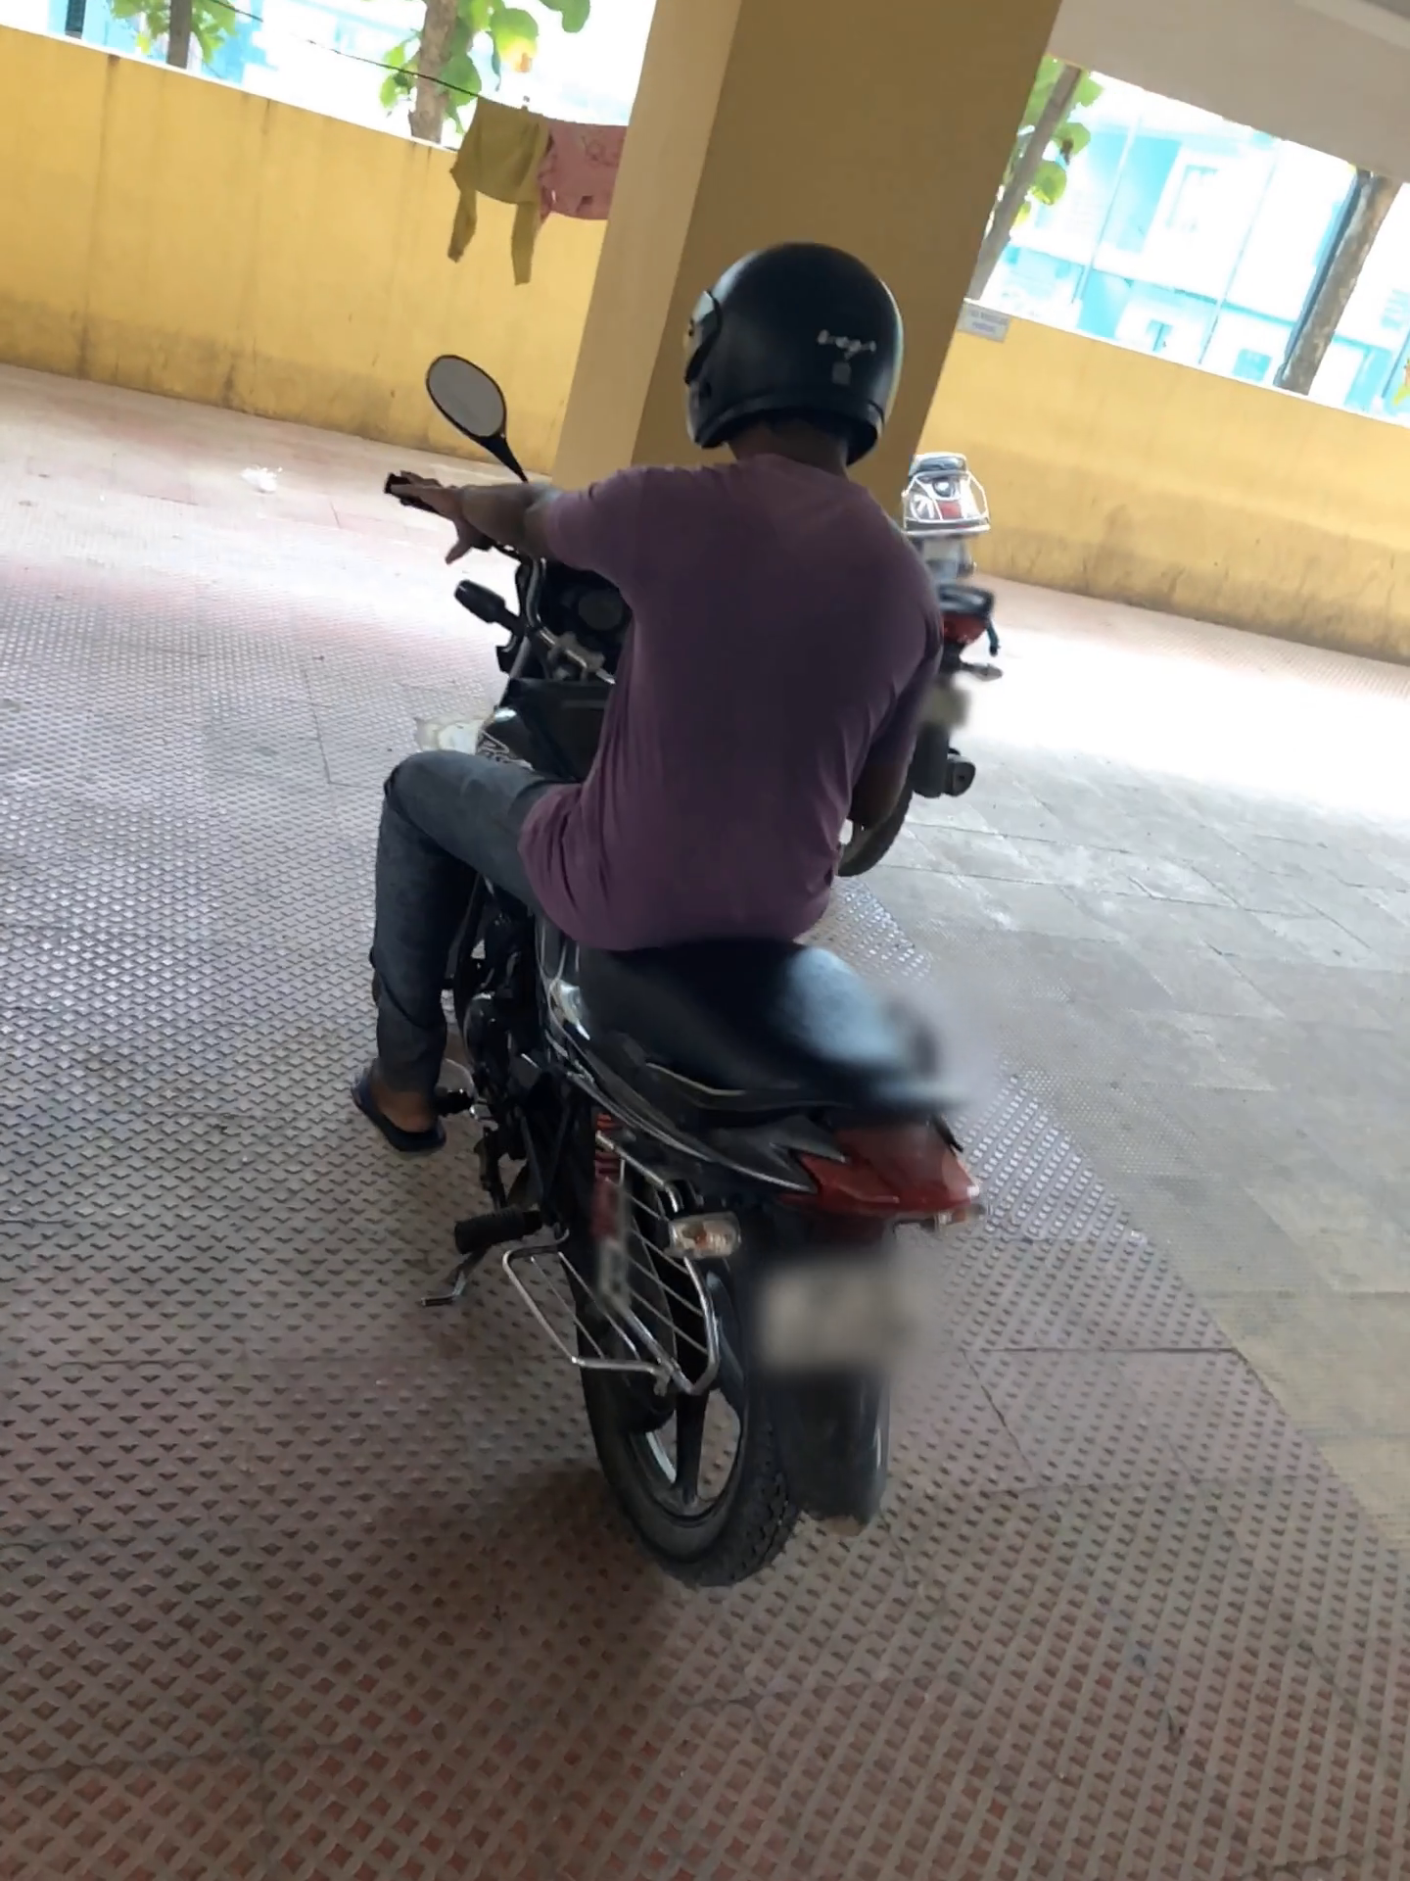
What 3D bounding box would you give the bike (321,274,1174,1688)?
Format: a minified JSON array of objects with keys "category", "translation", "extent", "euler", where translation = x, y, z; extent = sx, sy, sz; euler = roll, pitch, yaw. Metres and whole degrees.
[{"category":"bike","translation":[-0.137,-0.111,2.272],"extent":[0.632,1.063,1.653],"euler":[6,33,-21]}]
